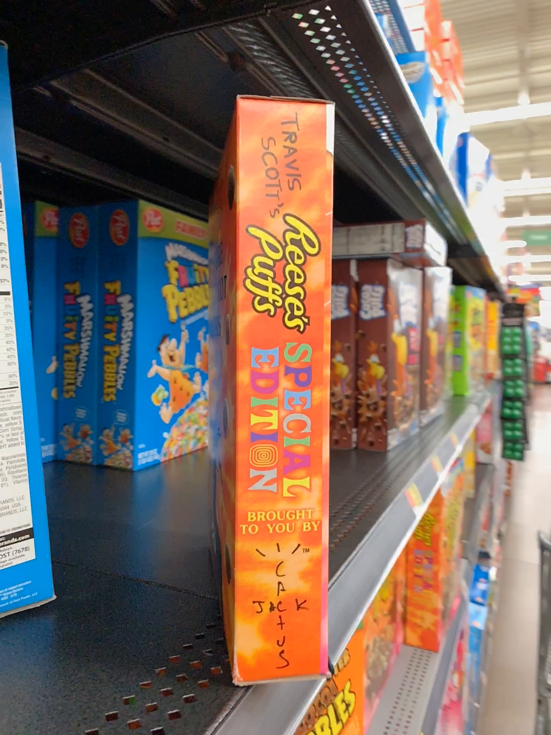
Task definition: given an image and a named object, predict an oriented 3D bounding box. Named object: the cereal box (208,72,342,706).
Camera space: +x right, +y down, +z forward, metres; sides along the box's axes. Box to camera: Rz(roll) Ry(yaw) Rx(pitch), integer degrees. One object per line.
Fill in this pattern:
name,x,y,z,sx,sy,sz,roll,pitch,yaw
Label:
cereal box,-0.011,0.007,0.362,0.050,0.290,0.200,-1,4,-10
